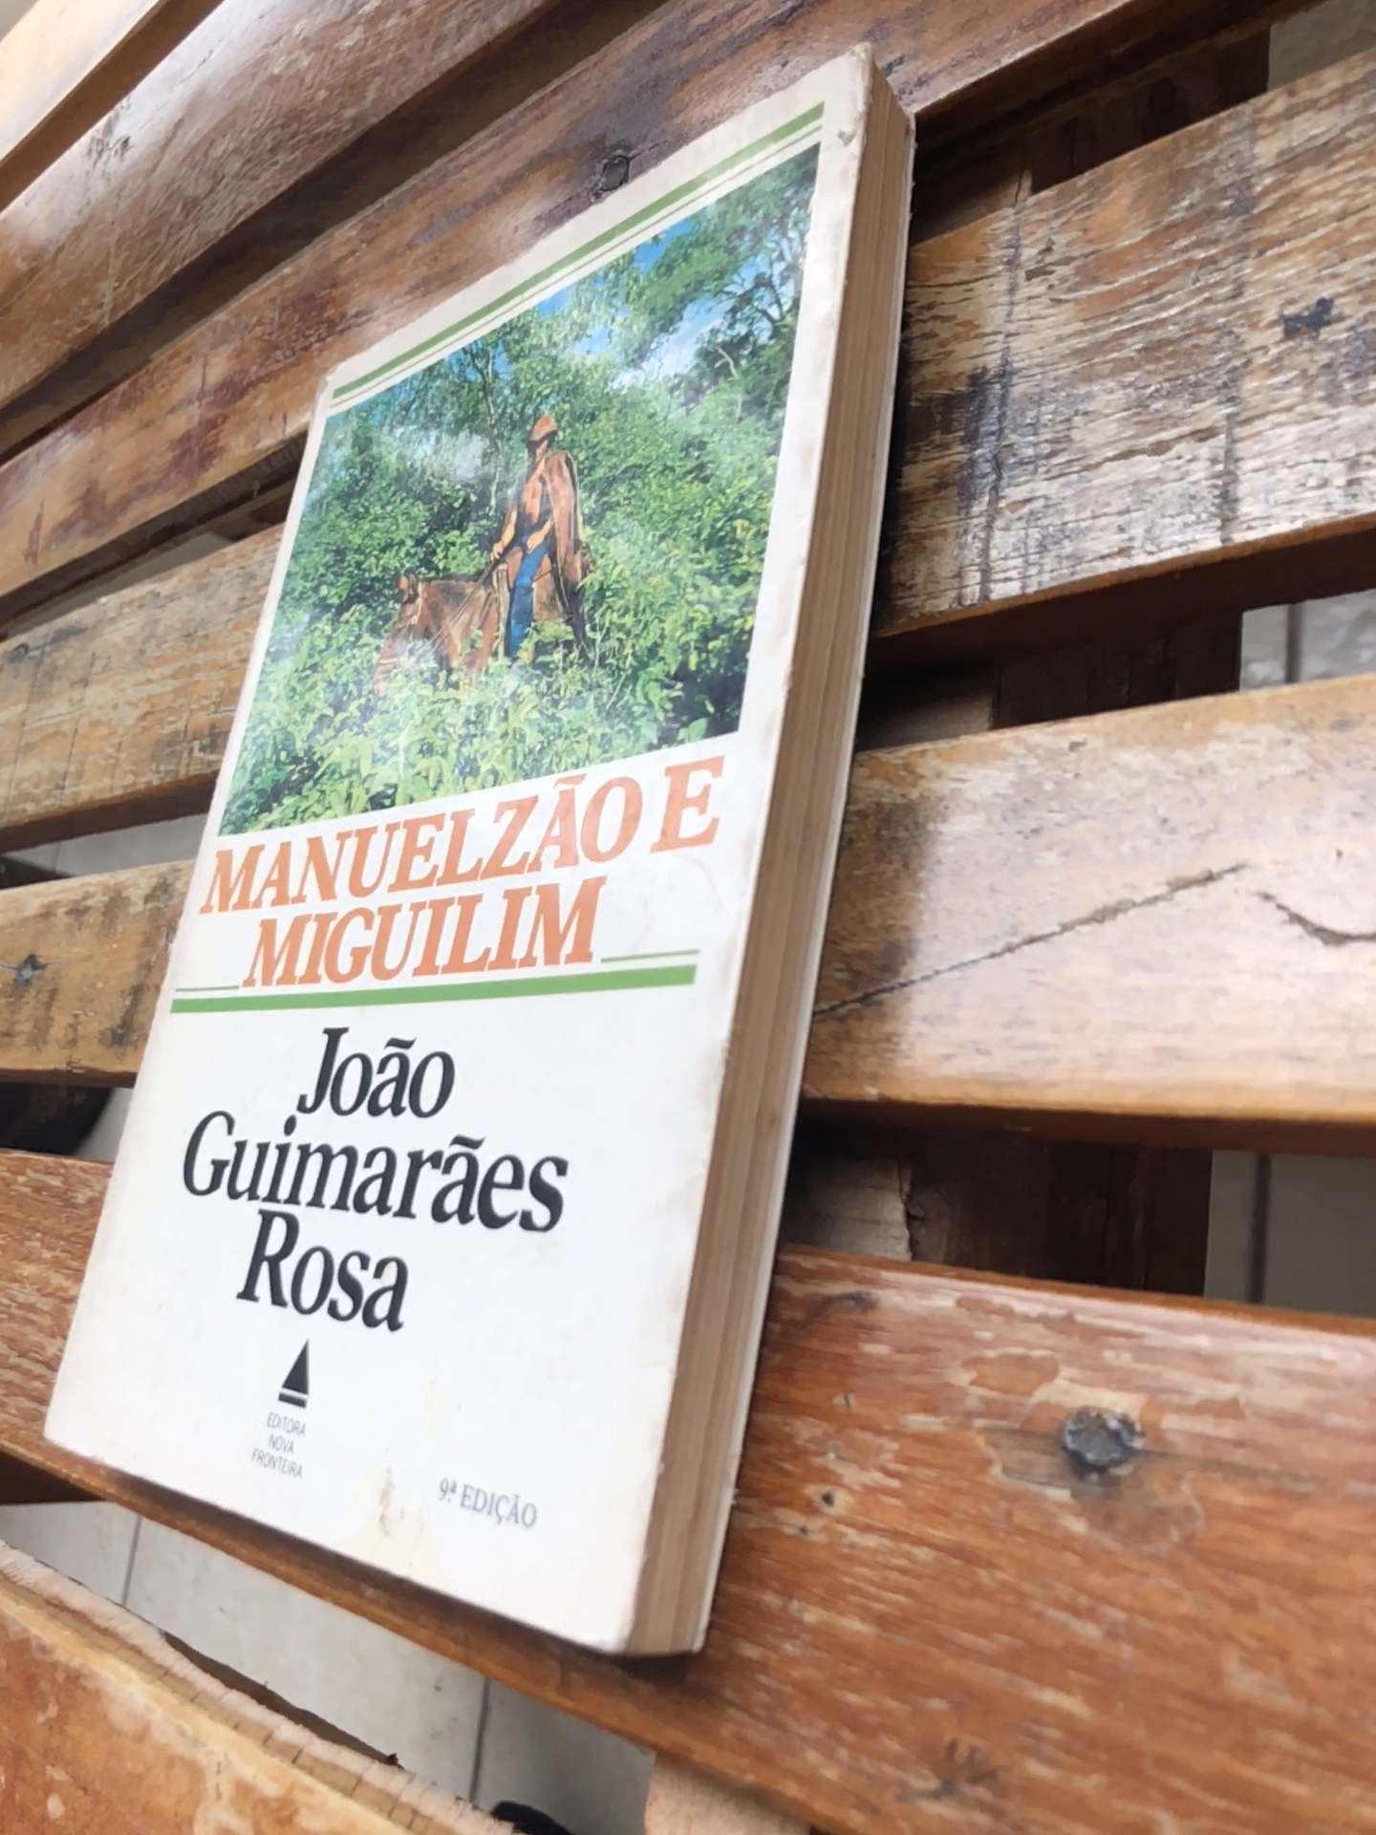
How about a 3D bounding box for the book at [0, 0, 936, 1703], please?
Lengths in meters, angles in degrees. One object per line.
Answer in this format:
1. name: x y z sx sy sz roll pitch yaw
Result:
1. book: -0.039 -0.014 0.224 0.142 0.020 0.200 -7 68 44
